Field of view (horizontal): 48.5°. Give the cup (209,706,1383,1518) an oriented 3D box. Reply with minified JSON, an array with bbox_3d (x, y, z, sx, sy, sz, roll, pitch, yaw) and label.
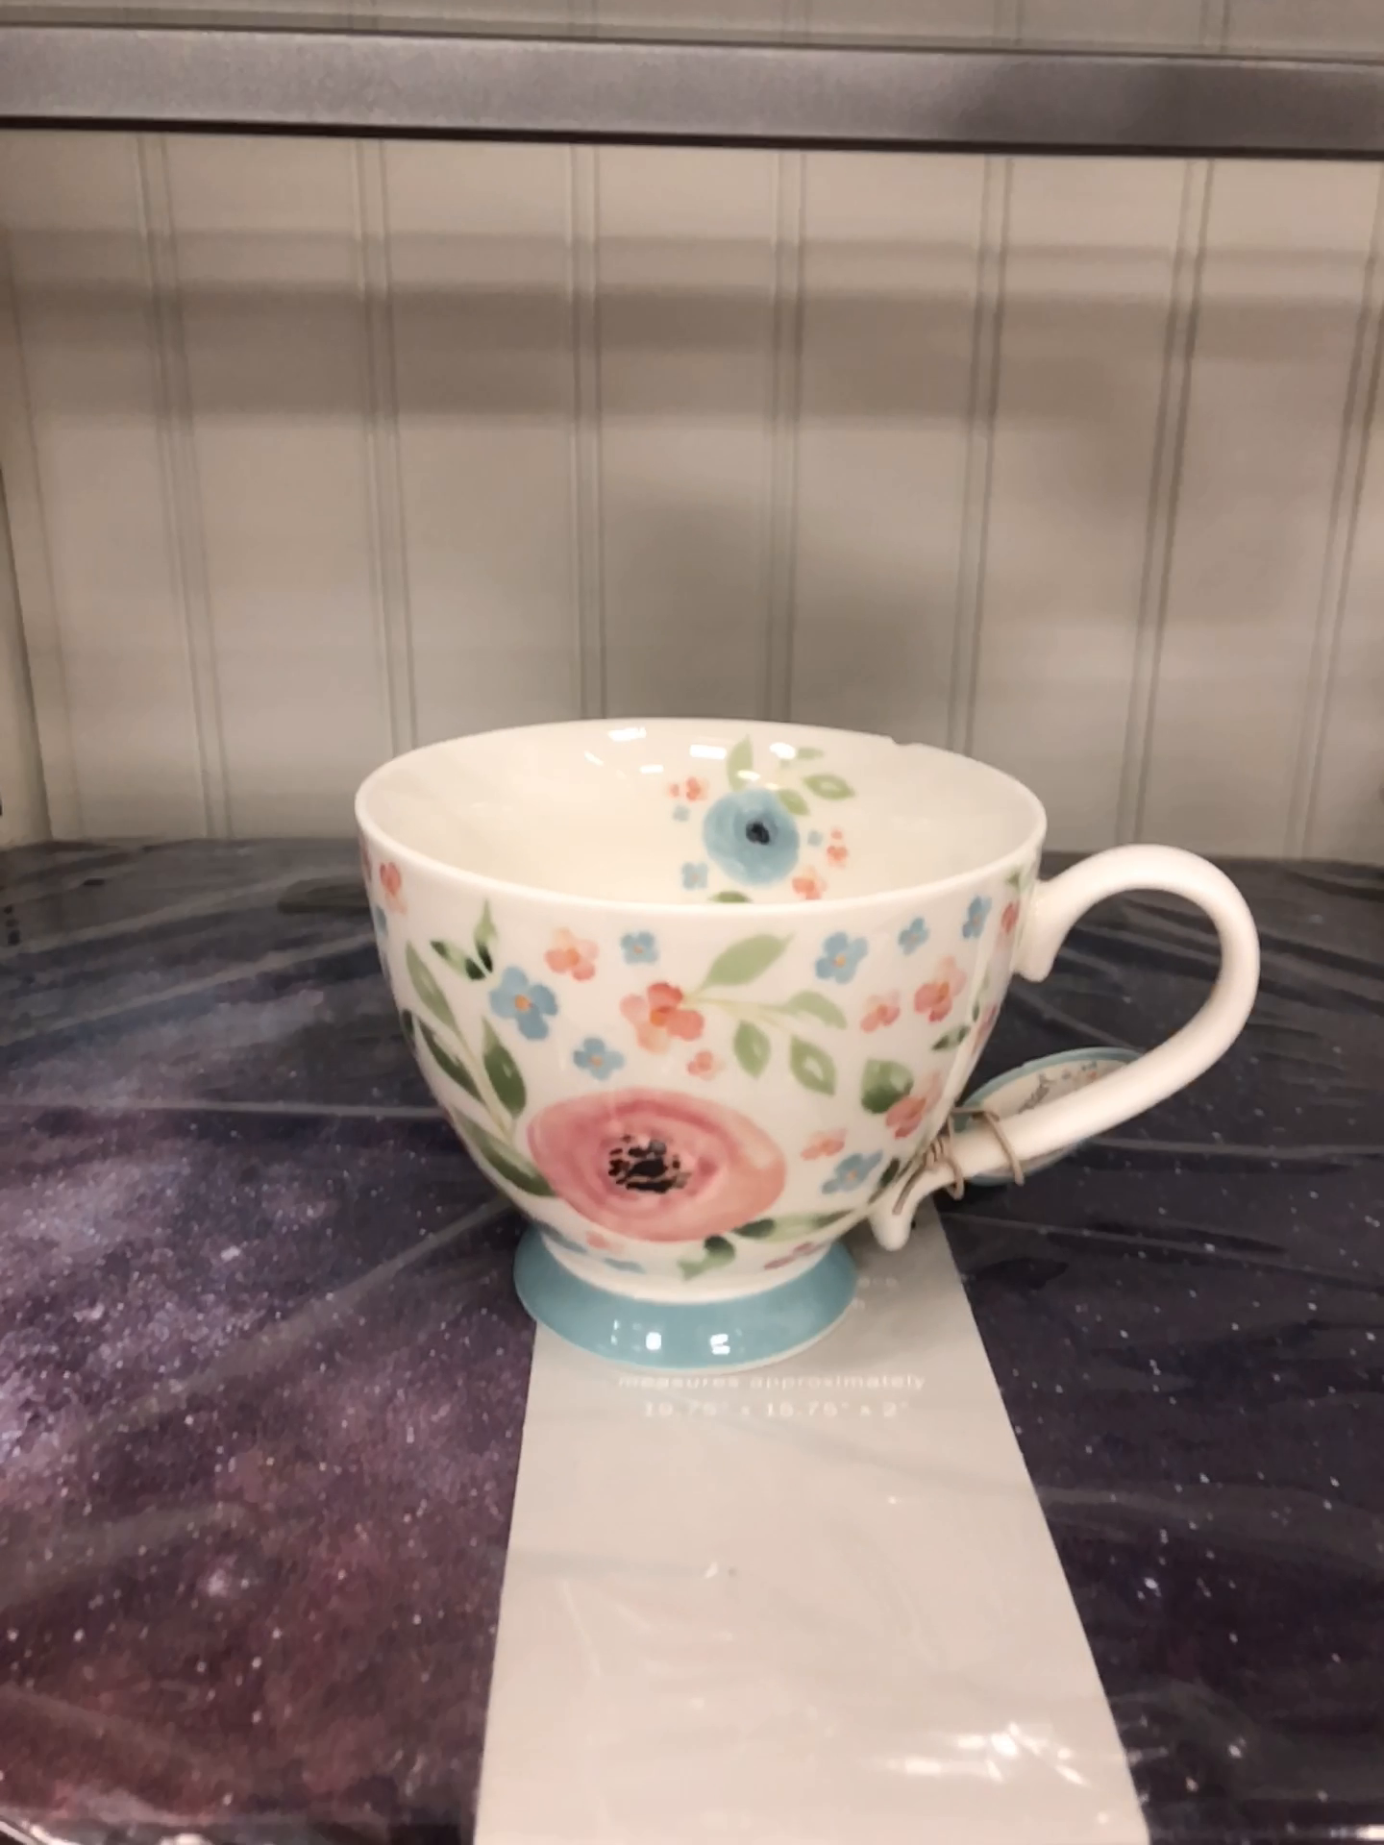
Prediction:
[{"bbox_3d":[0.019,0.018,0.257,0.150,0.079,0.111,4,21,10],"label":"cup"}]
